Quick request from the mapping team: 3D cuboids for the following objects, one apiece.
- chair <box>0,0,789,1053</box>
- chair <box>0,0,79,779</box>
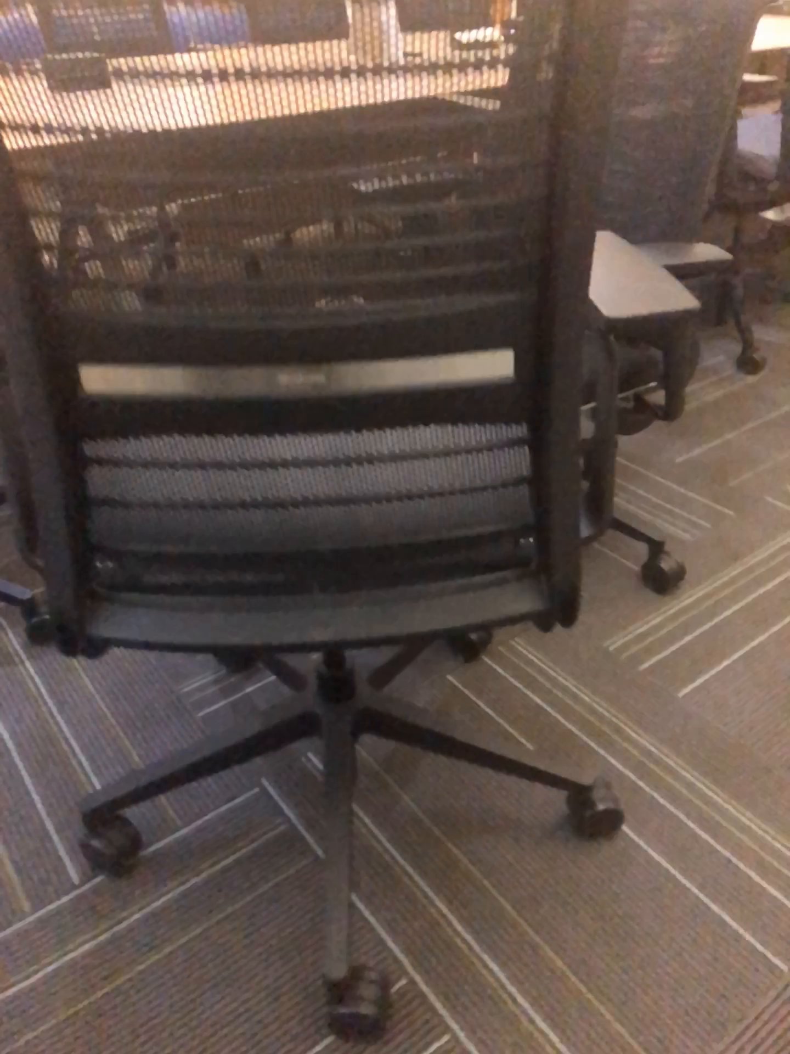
[{"bbox_3d":[-0.079,-0.090,0.906,0.720,0.963,0.715,-4,32,-3],"label":"chair"},{"bbox_3d":[-0.967,-0.315,1.302,0.731,0.963,0.724,-10,33,-13],"label":"chair"}]
